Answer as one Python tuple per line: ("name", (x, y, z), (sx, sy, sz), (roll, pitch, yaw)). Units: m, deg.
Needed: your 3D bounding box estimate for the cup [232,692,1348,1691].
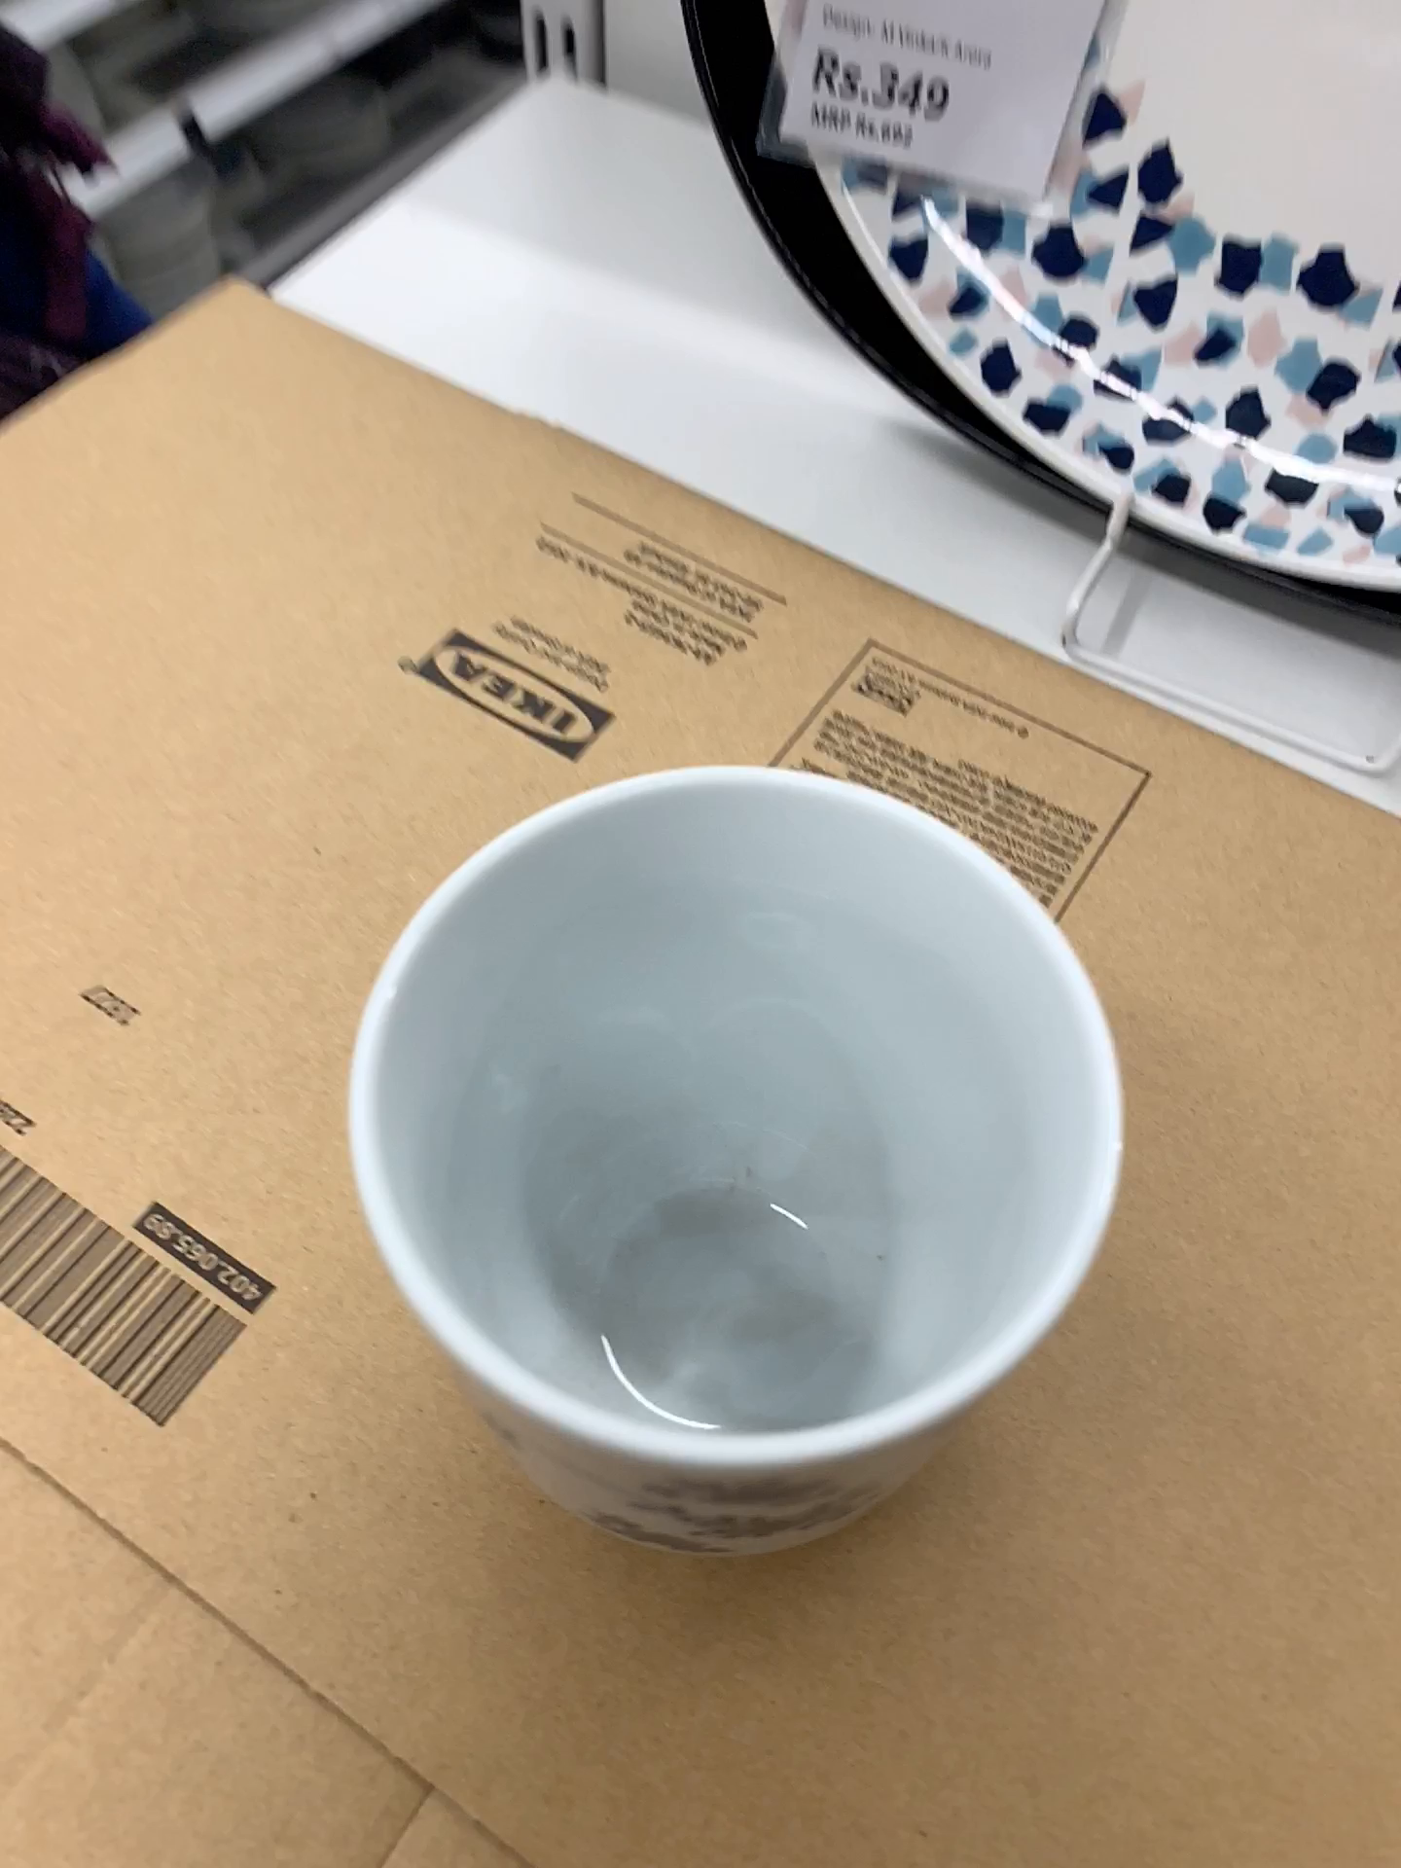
("cup", (0.005, 0.032, 0.159), (0.080, 0.080, 0.080), (1, 56, -2))
